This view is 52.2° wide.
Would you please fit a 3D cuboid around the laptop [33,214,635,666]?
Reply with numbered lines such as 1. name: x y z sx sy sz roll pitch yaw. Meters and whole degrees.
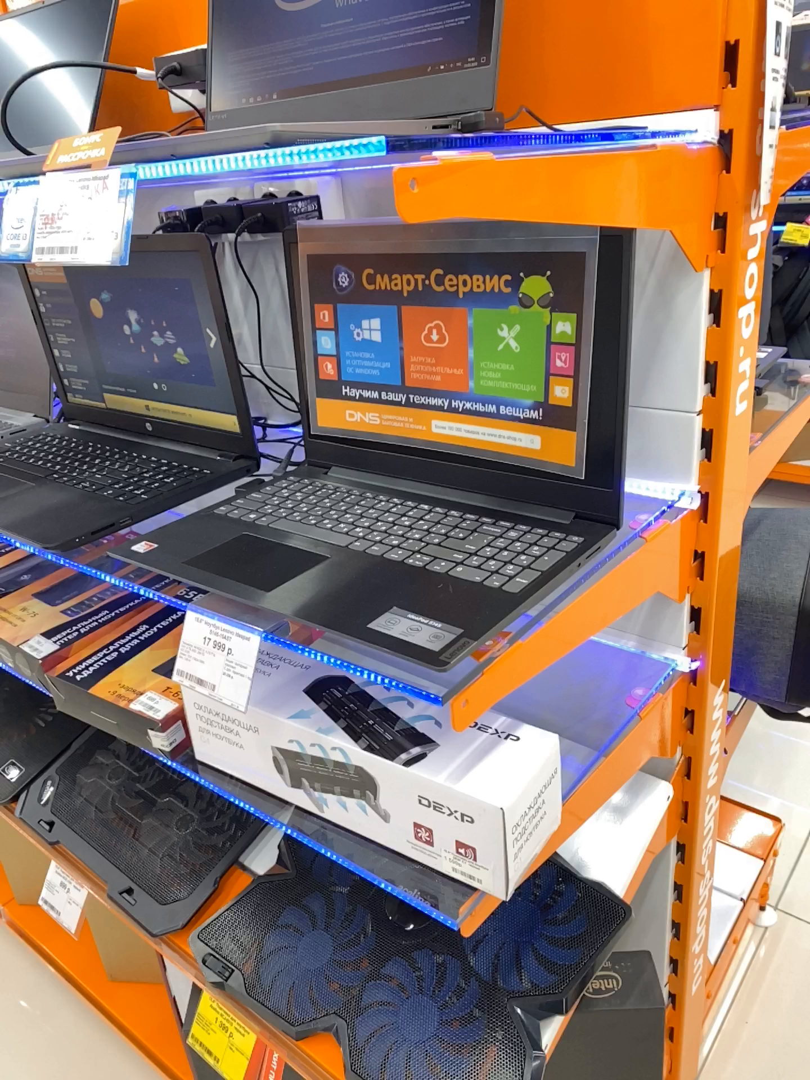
1. laptop: -0.046 -0.111 0.655 0.358 0.236 0.266 13 29 36
